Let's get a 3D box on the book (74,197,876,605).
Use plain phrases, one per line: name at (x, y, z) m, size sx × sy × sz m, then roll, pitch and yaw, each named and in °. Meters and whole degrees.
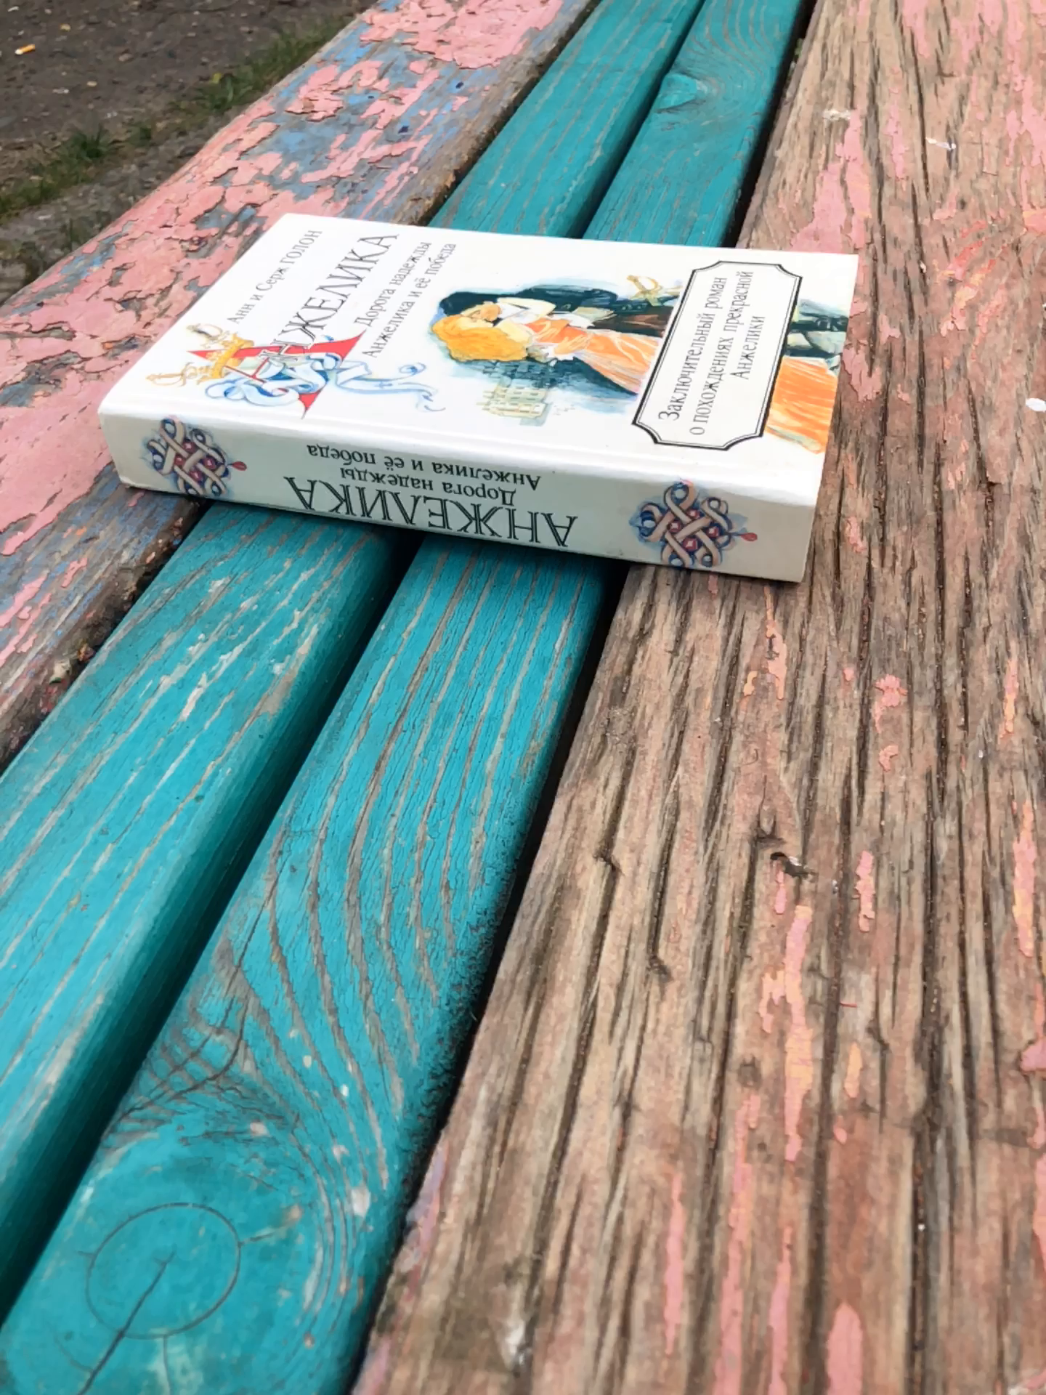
book at (-0.003, -0.105, 0.369) m, size 0.213 × 0.032 × 0.154 m, roll 10°, pitch 44°, yaw 10°
